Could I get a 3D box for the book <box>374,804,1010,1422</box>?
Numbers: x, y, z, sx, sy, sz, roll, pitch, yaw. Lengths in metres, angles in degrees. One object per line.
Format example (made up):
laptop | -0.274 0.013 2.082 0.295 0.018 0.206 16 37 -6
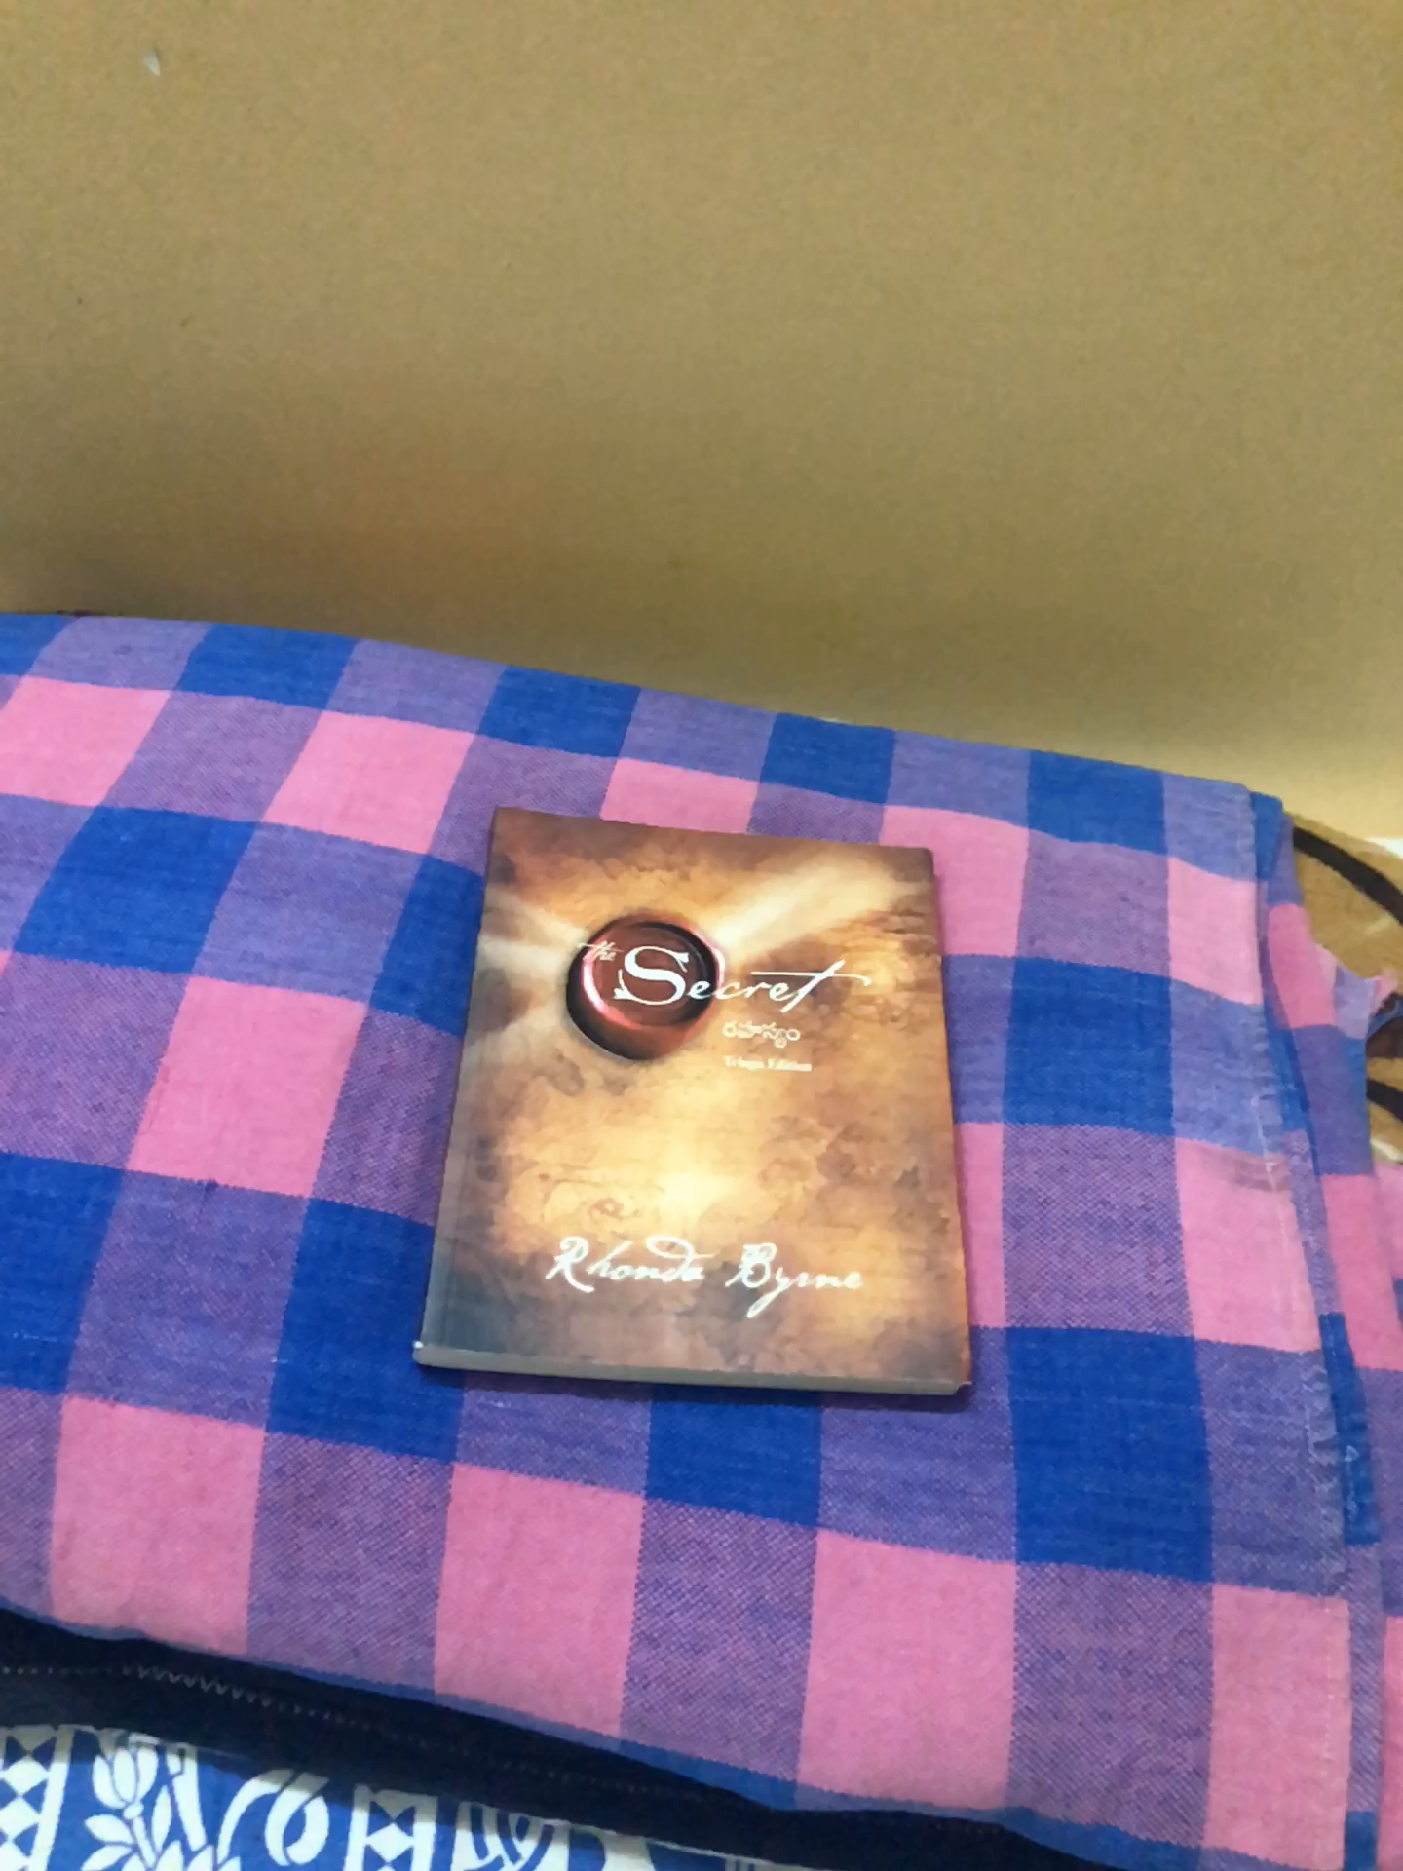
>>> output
book | -0.001 0.039 0.438 0.150 0.020 0.191 4 47 -2
